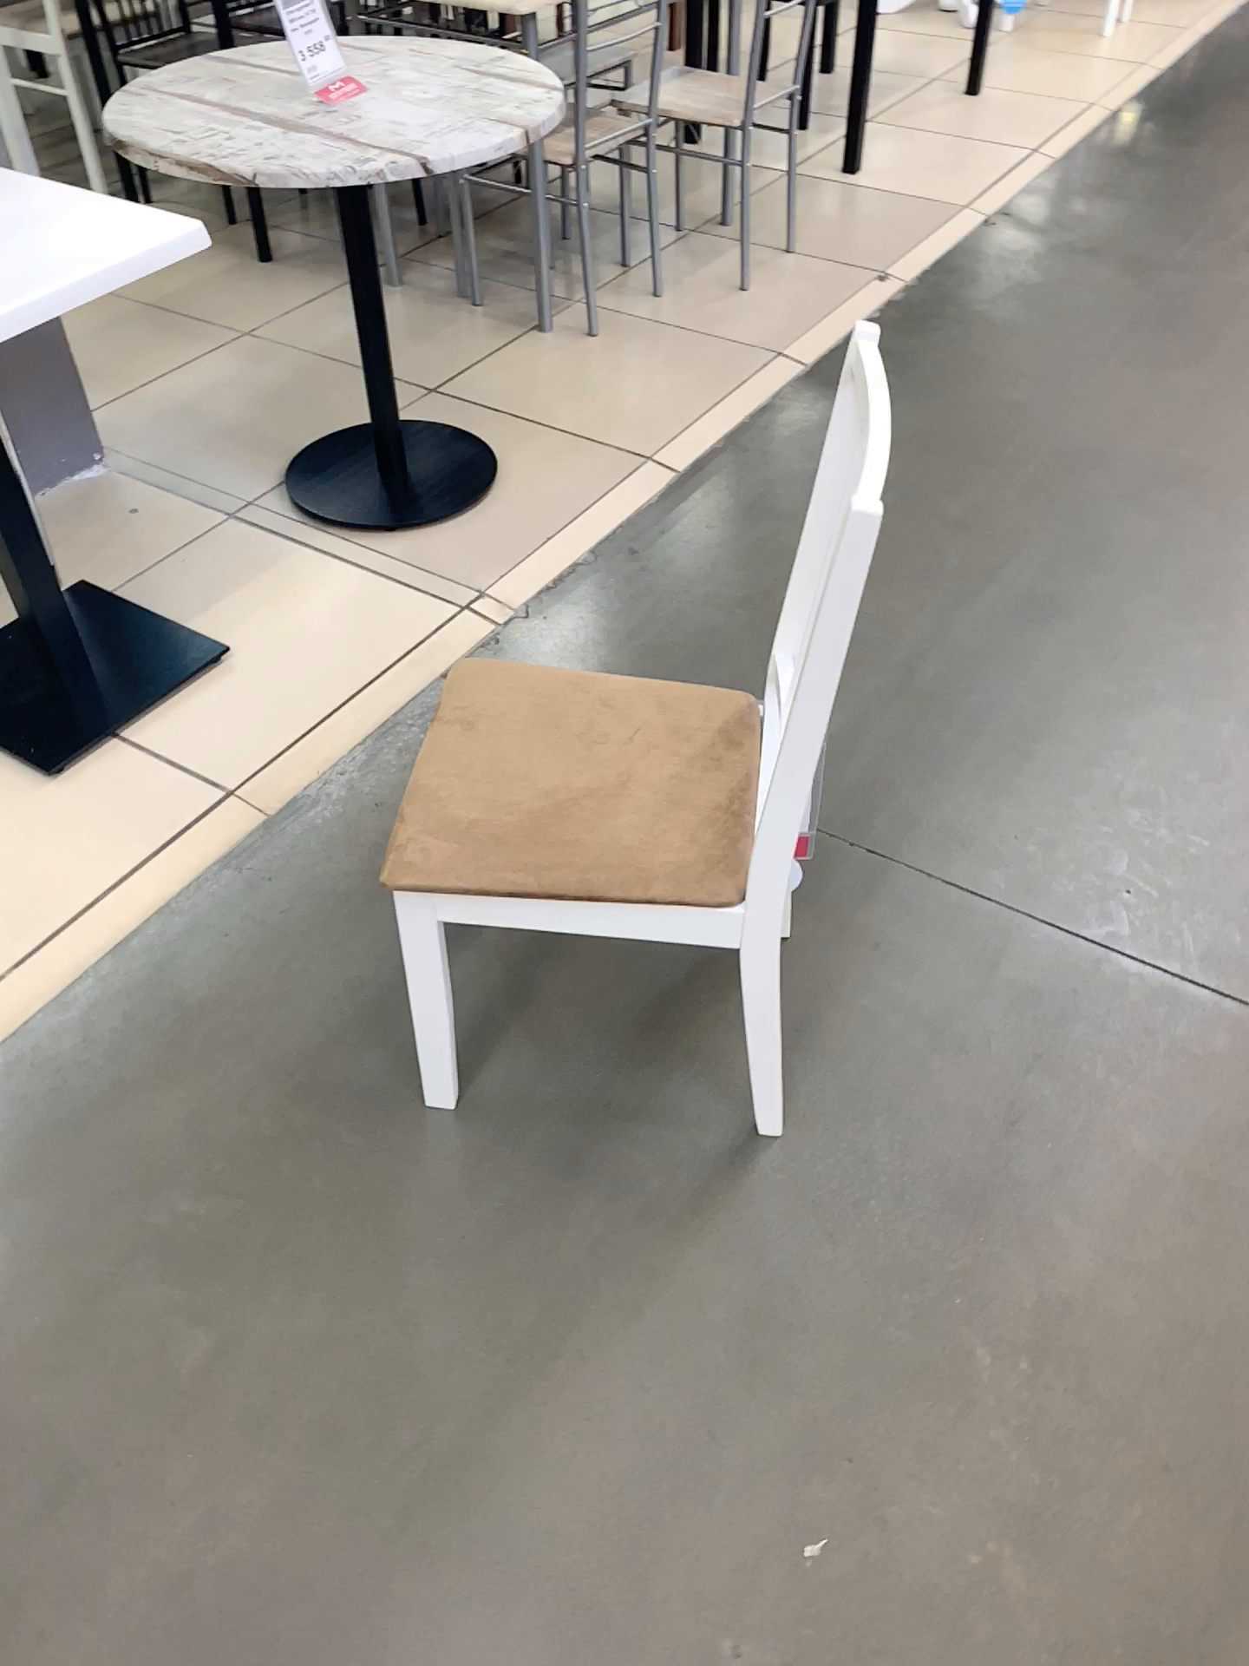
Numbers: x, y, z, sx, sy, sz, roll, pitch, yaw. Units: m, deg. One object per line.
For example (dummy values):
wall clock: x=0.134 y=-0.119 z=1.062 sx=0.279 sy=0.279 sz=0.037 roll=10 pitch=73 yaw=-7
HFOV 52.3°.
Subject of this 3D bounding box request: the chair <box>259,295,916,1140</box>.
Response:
chair: x=-0.006 y=-0.088 z=1.385 sx=0.500 sy=0.816 sz=0.402 roll=4 pitch=44 yaw=5
